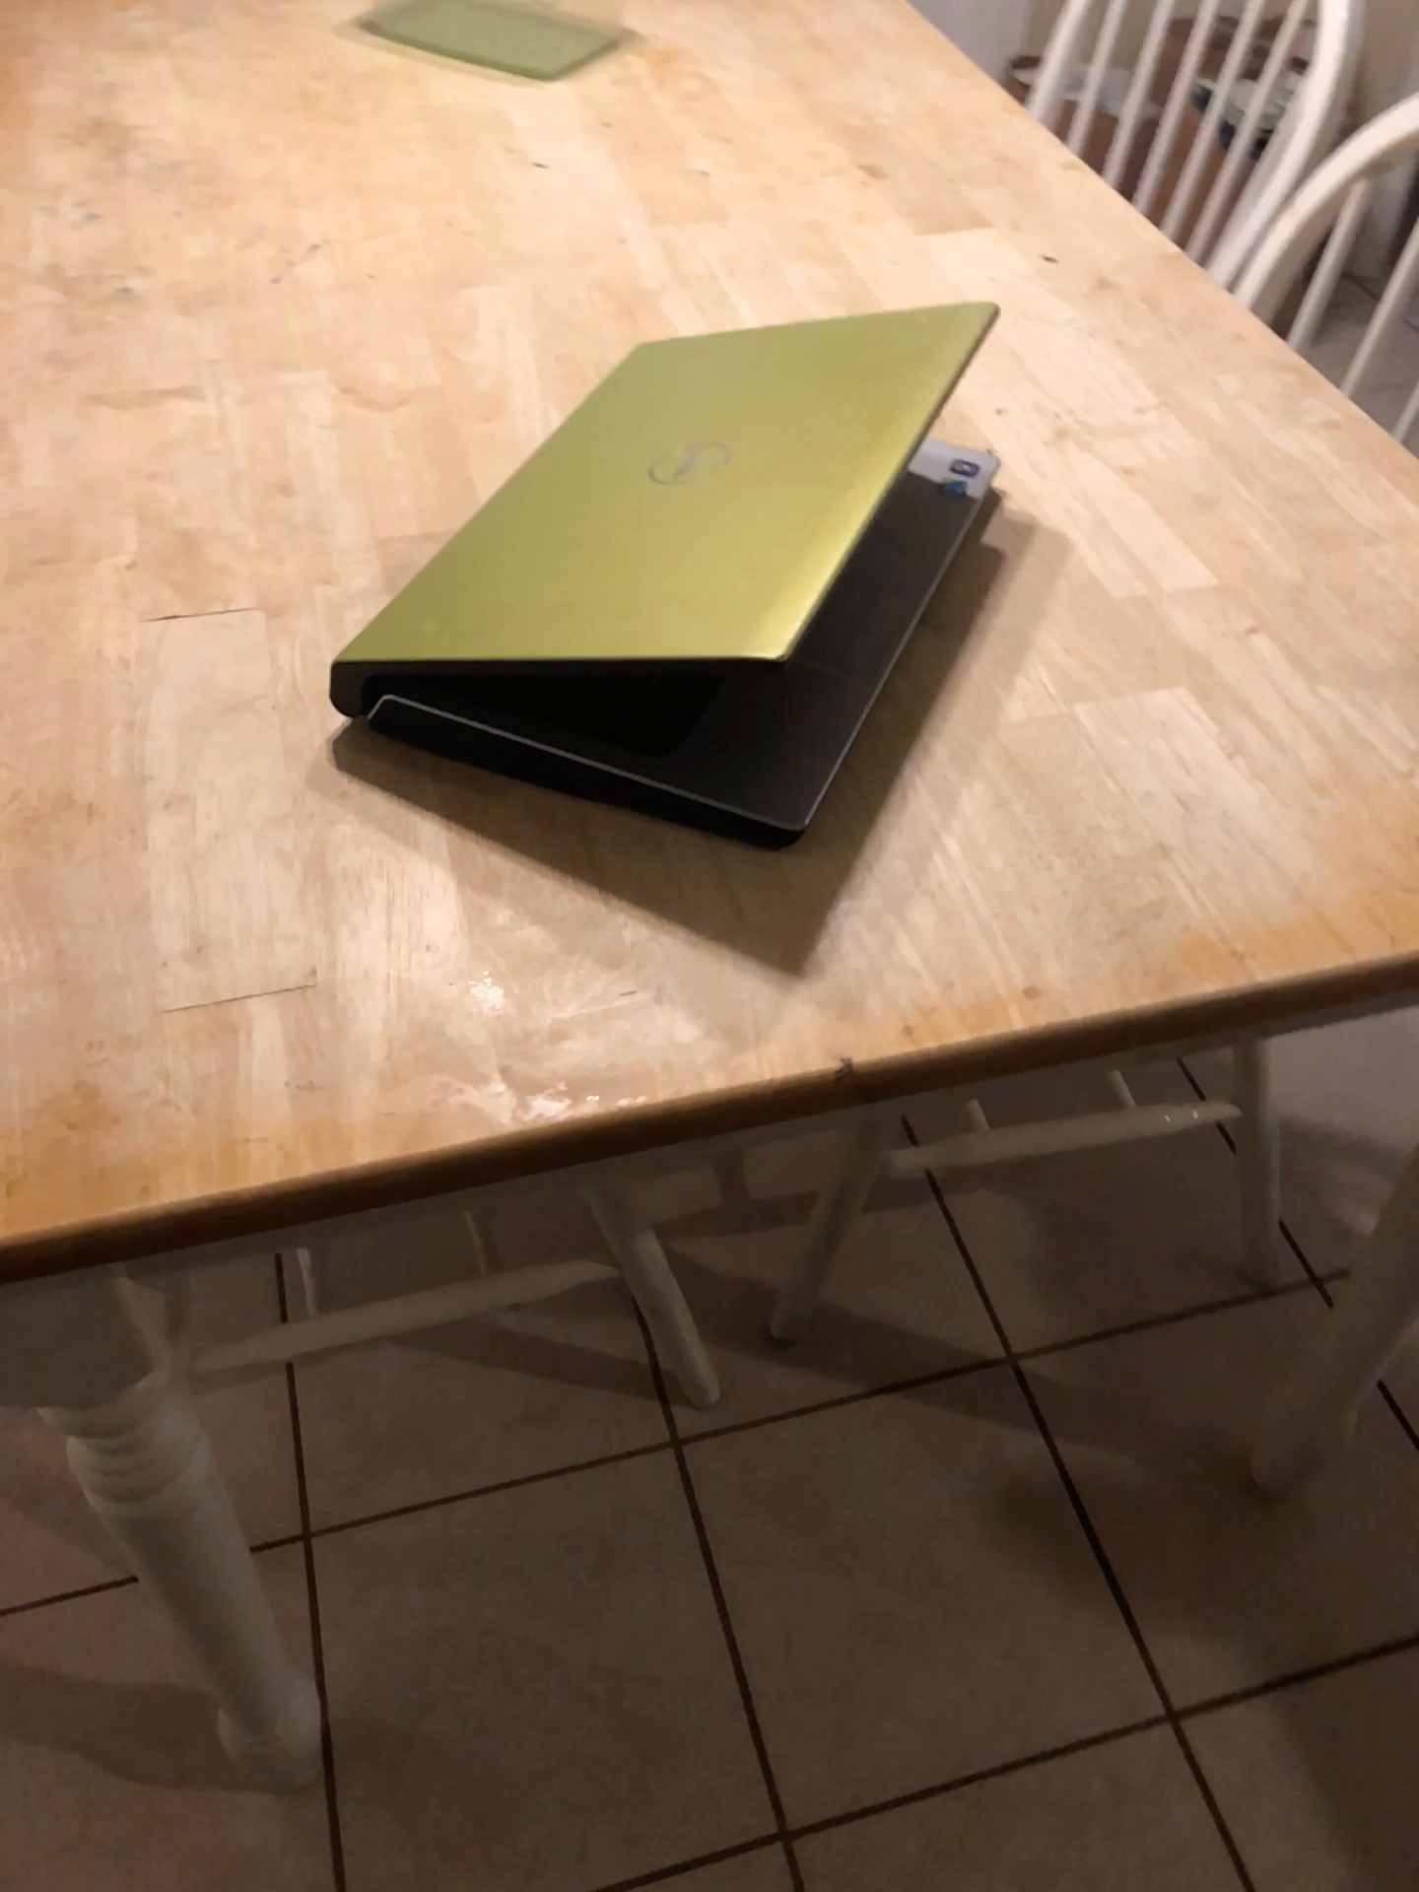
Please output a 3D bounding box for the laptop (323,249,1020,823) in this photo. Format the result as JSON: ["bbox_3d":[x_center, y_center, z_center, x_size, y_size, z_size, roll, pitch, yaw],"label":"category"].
[{"bbox_3d":[0.001,-0.235,0.813,0.227,0.076,0.360,19,48,12],"label":"laptop"}]
